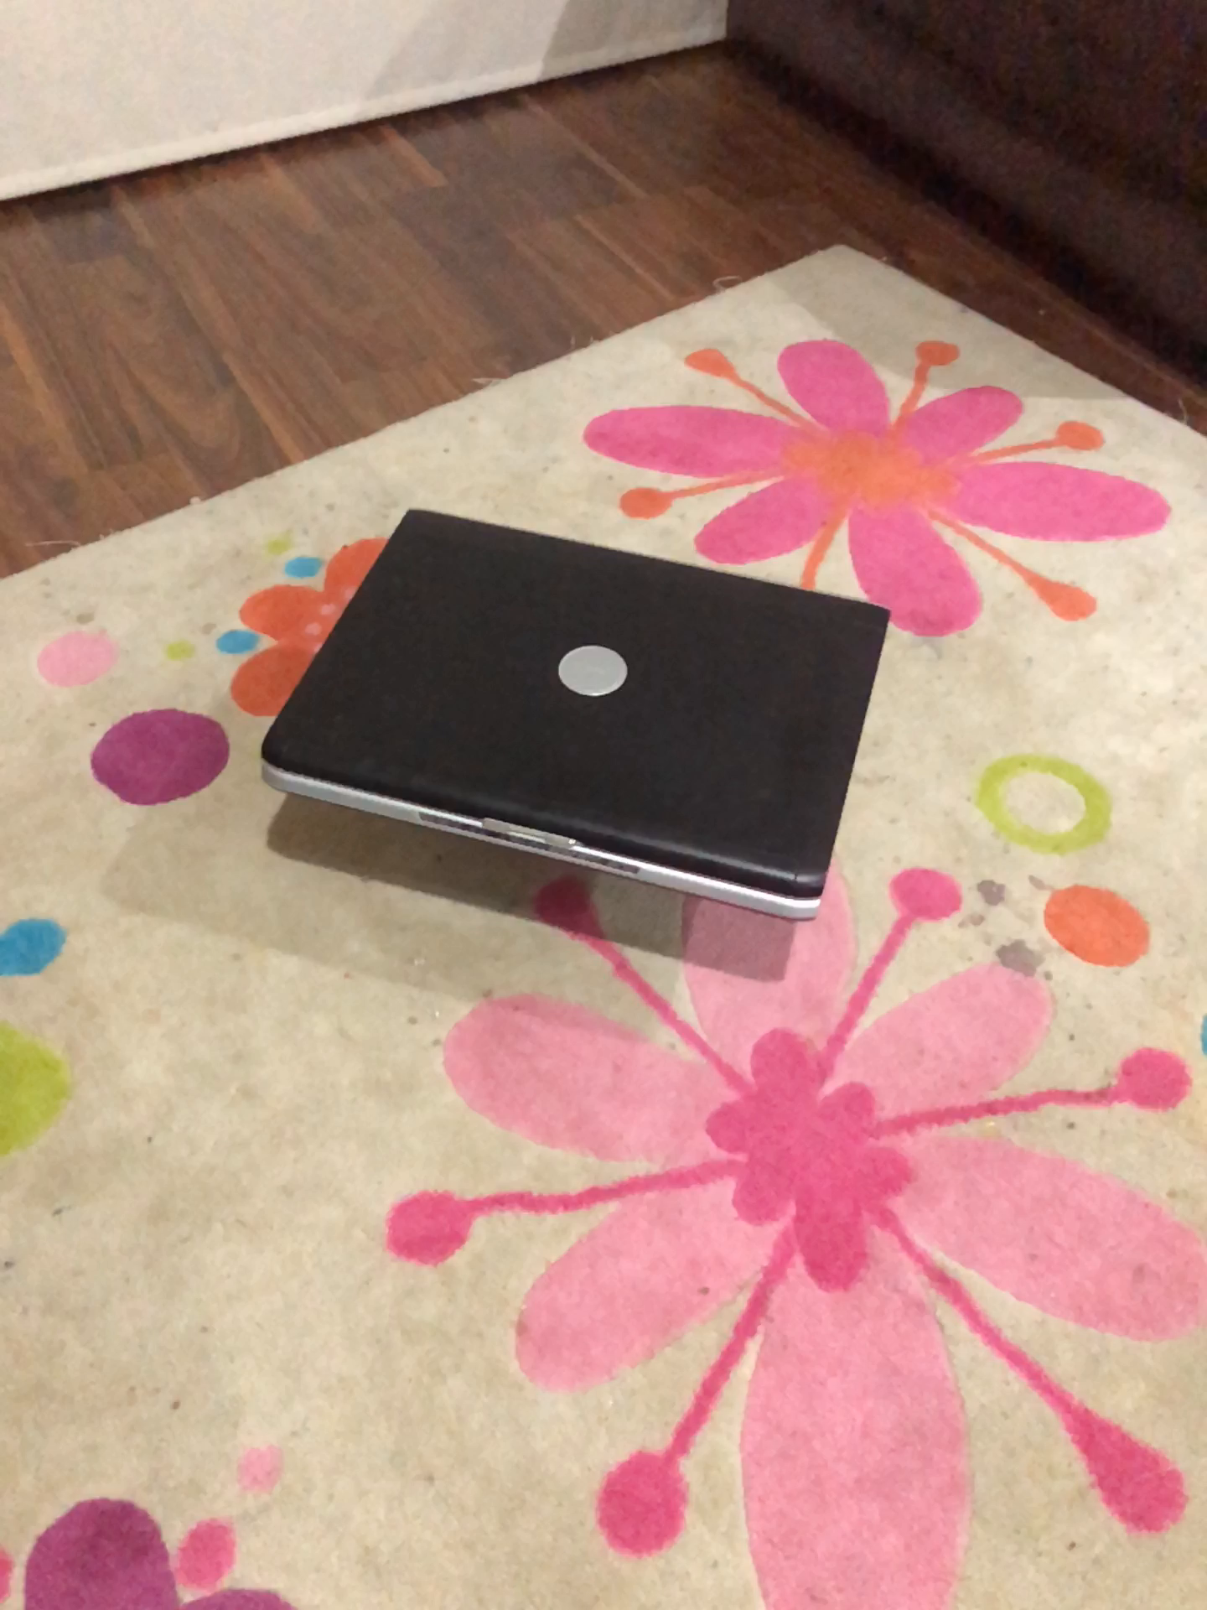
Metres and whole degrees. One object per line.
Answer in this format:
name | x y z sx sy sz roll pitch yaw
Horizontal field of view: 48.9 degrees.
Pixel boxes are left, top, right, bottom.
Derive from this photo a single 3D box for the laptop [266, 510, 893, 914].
laptop | -0.010 -0.075 0.862 0.353 0.015 0.233 14 56 13
